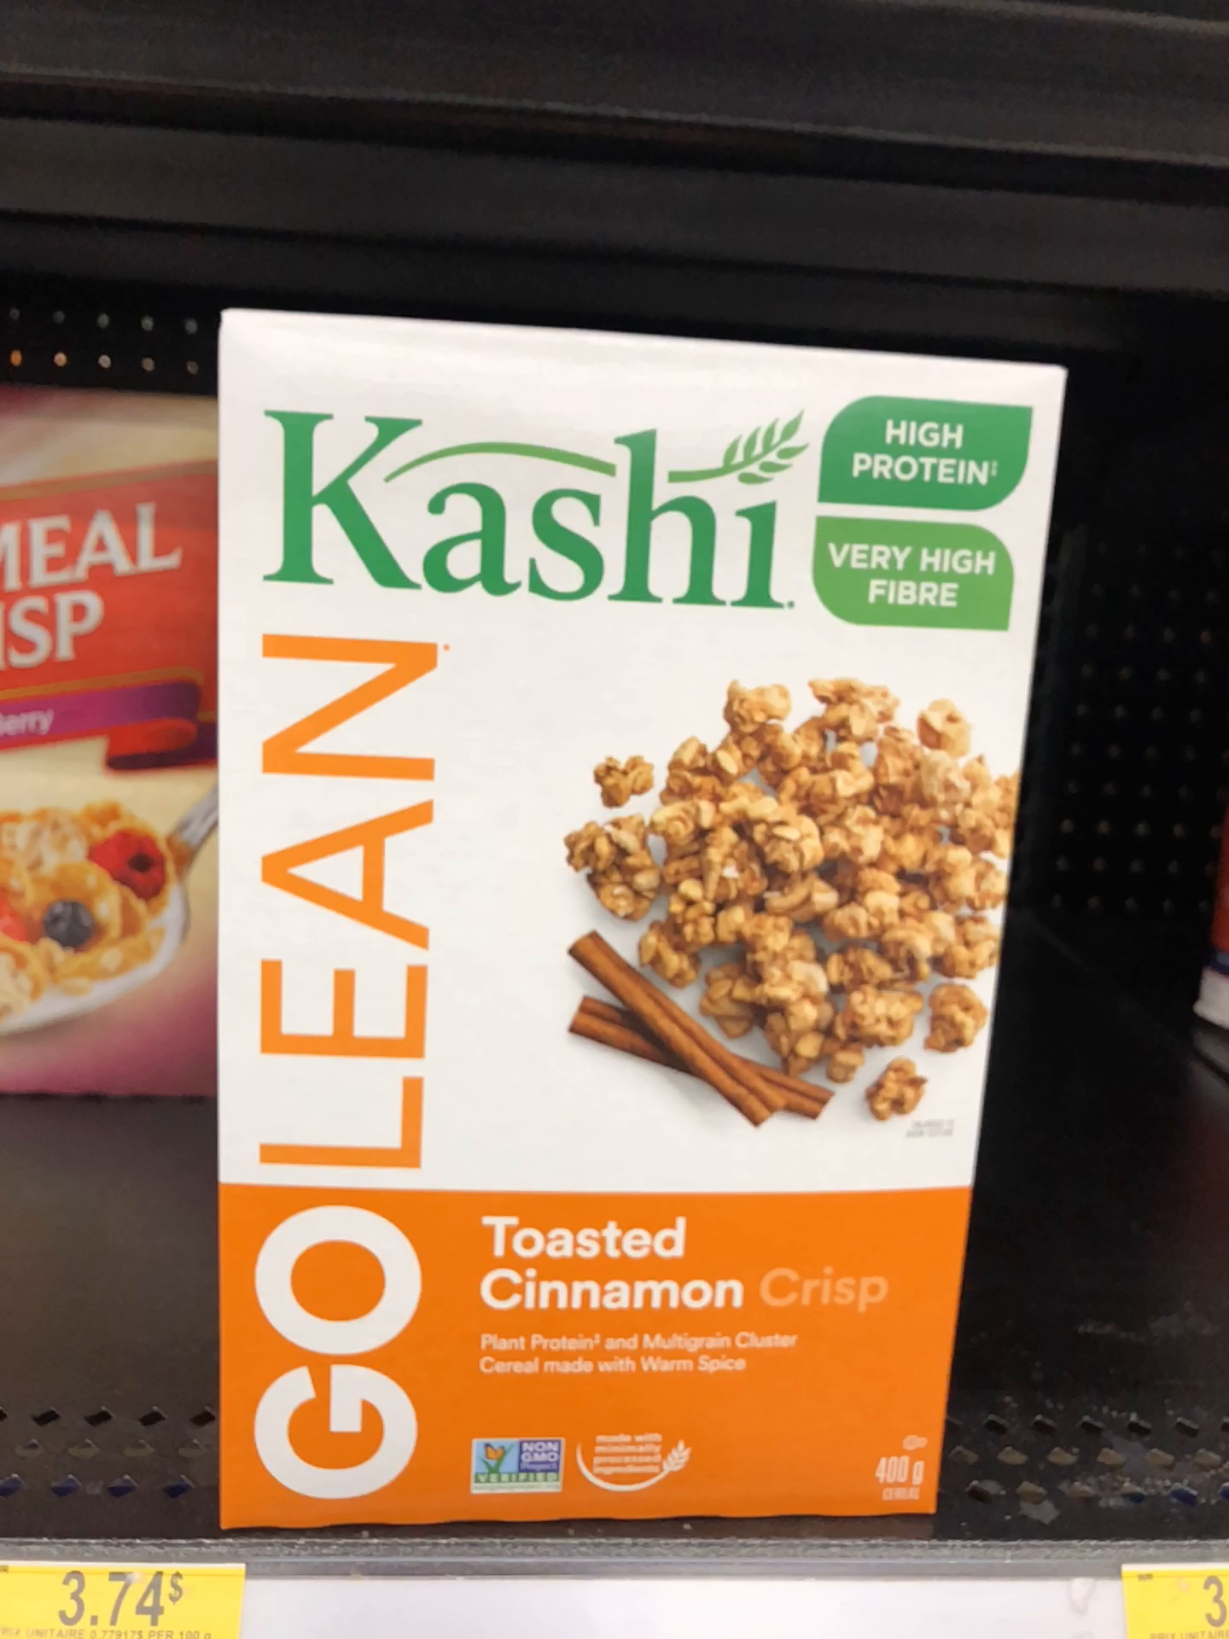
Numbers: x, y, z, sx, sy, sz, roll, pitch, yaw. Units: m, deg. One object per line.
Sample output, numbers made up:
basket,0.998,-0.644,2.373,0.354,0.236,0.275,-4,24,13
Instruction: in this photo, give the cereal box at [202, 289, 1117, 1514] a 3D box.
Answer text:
cereal box,0.002,0.025,0.302,0.170,0.249,0.050,2,12,-5
